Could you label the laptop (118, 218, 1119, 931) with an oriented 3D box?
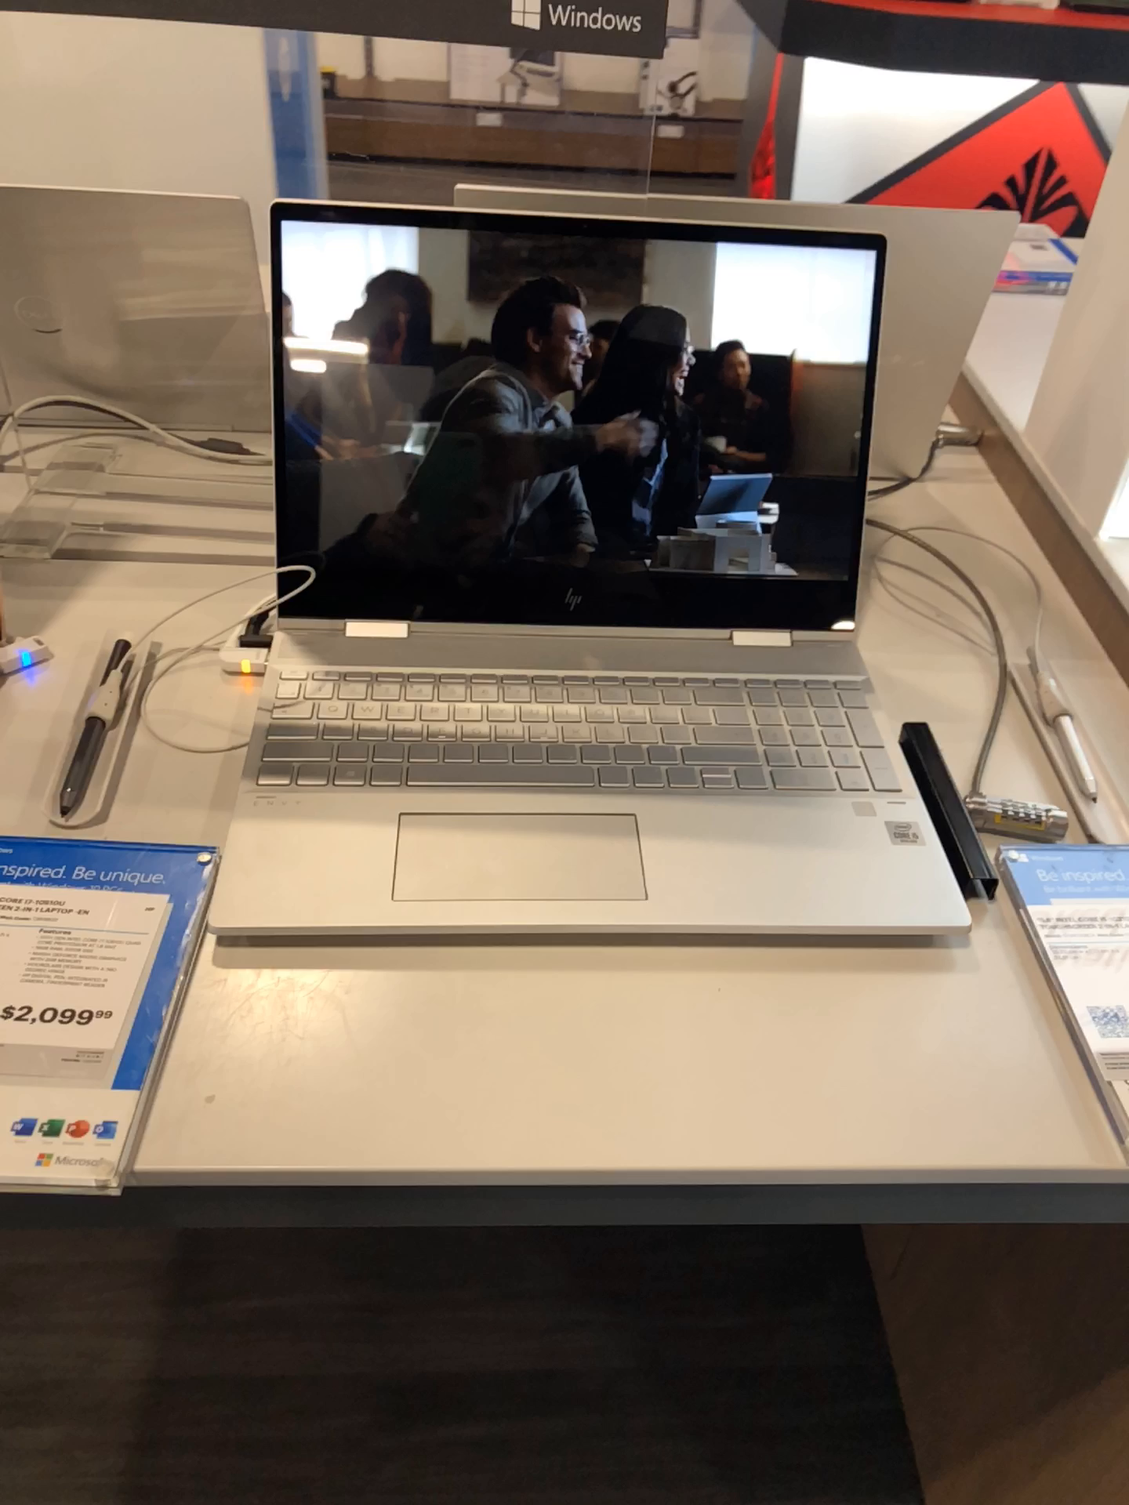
[{"bbox_3d":[0.011,-0.110,0.646,0.358,0.210,0.355,1,39,-4],"label":"laptop"}]
